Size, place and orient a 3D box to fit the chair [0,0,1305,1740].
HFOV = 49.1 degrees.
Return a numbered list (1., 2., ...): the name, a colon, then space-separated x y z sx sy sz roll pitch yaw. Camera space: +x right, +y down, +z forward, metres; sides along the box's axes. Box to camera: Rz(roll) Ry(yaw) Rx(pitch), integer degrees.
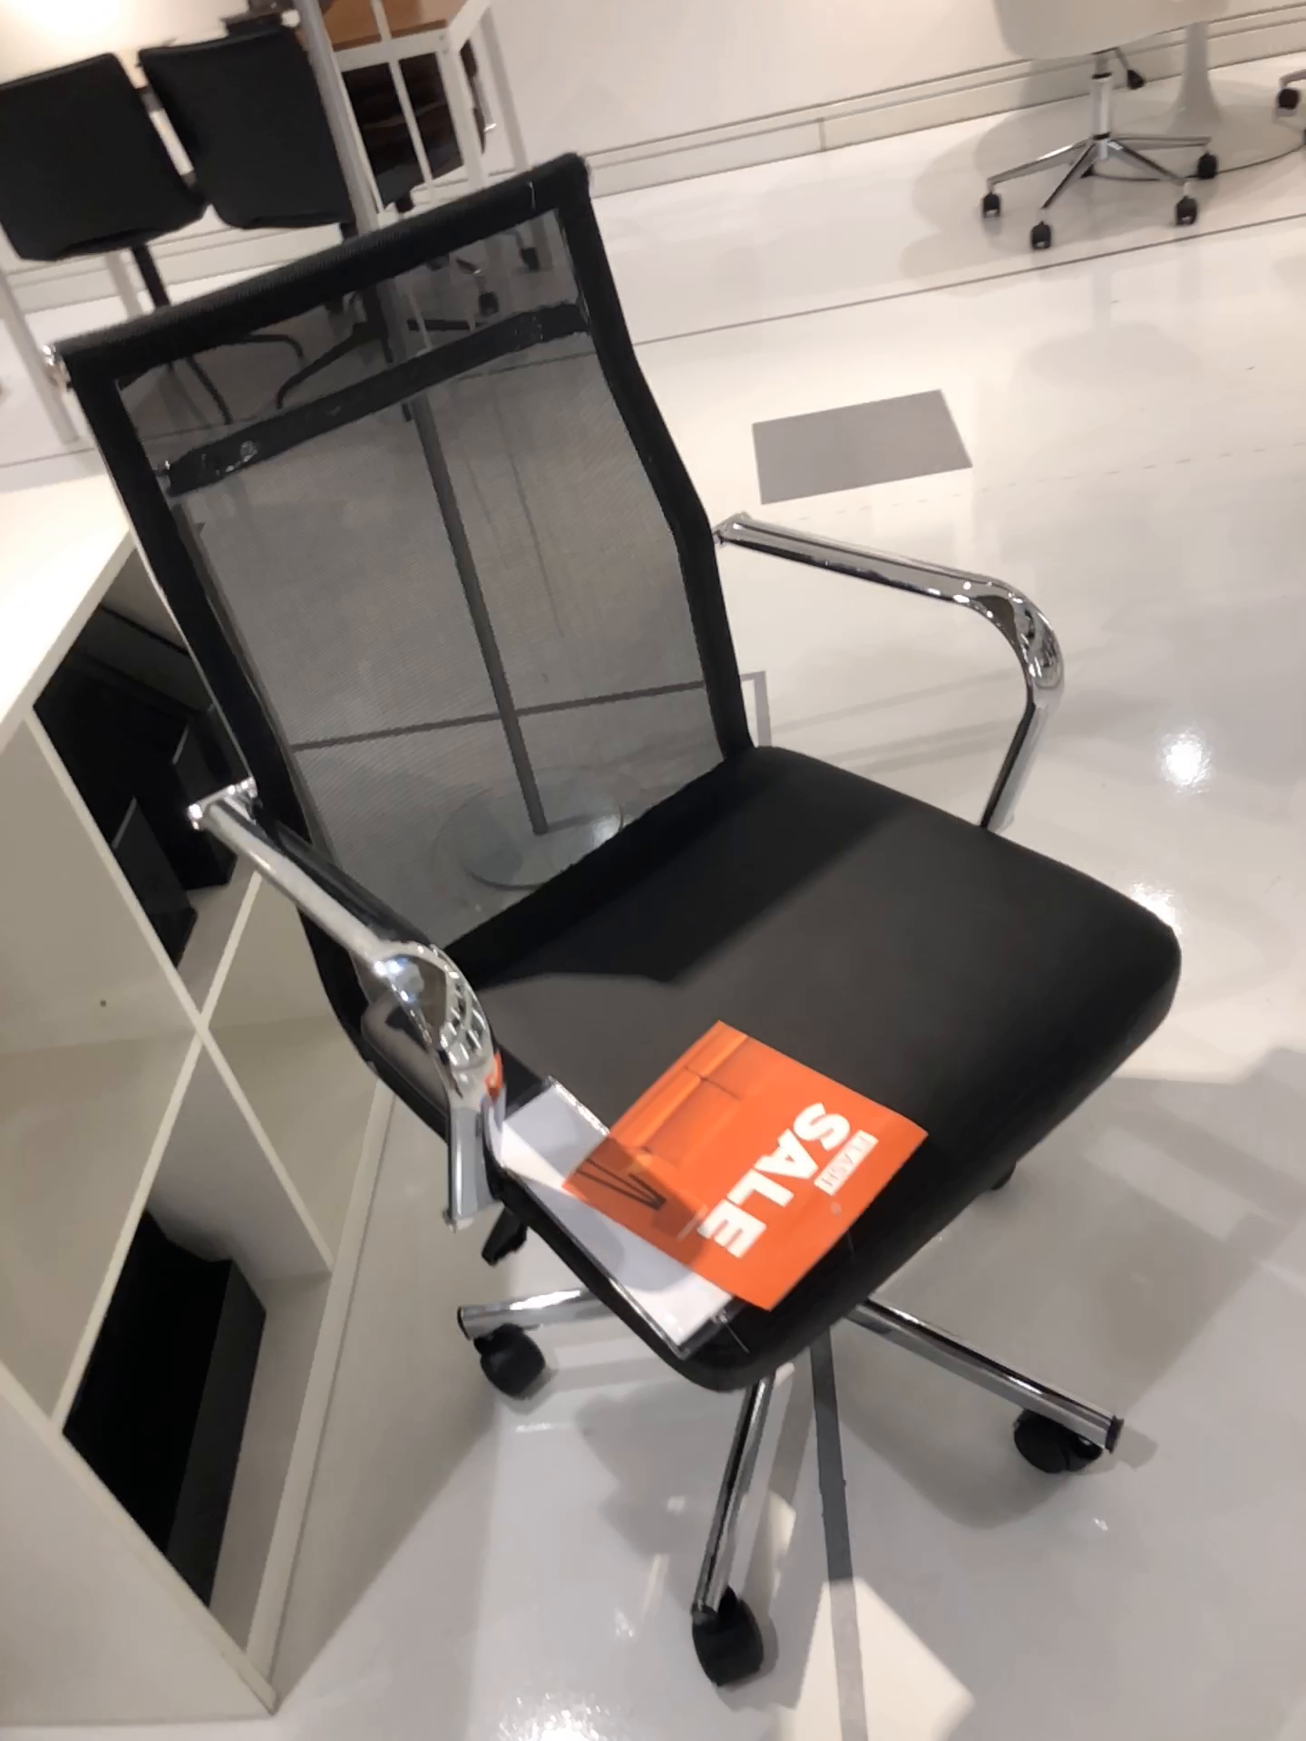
1. chair: 0.040 0.016 1.033 0.612 0.992 0.623 -35 43 -25
